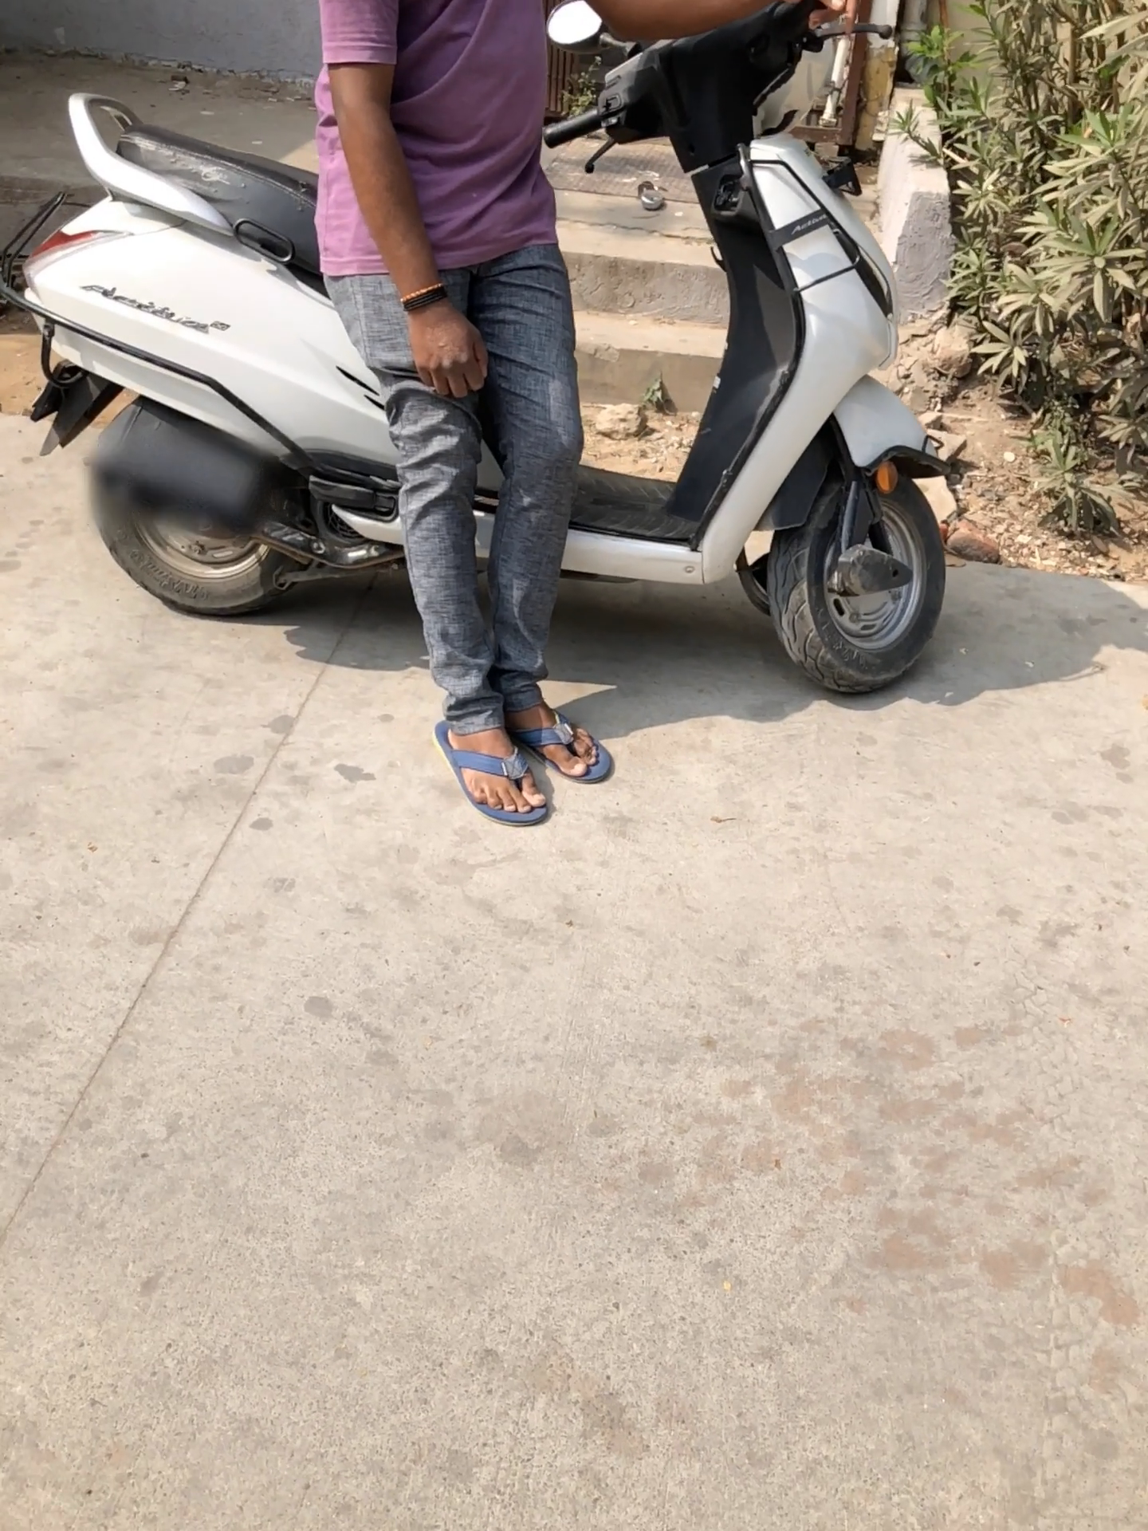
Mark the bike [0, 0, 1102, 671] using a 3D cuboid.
[{"bbox_3d":[-0.063,-0.798,2.208,1.521,1.007,0.651,2,38,-3],"label":"bike"}]
